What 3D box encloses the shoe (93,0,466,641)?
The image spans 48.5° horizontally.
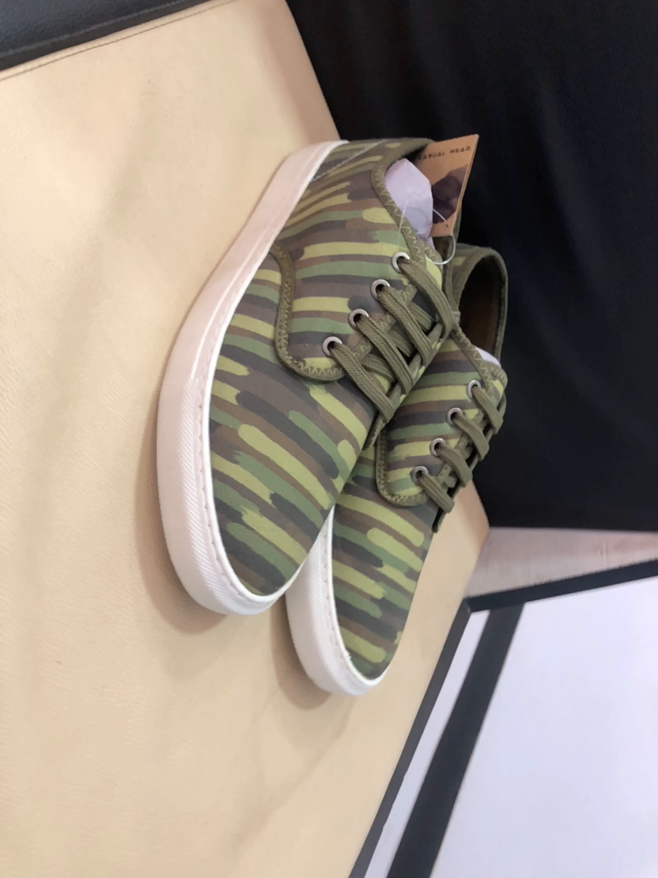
[{"bbox_3d":[-0.007,-0.067,0.377,0.101,0.079,0.310,38,57,-47],"label":"shoe"}]

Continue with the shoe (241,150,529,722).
[{"bbox_3d":[0.047,-0.008,0.436,0.101,0.079,0.310,38,57,-47],"label":"shoe"}]
